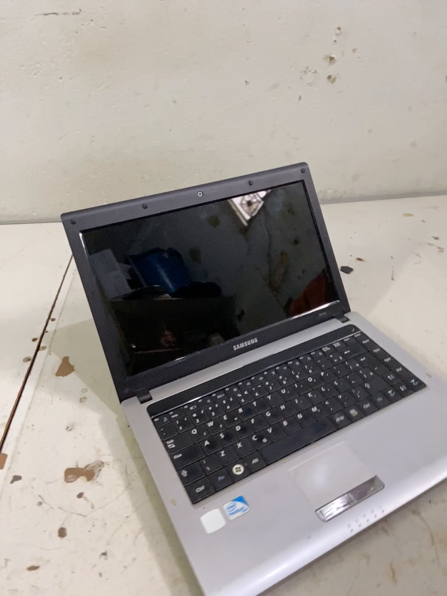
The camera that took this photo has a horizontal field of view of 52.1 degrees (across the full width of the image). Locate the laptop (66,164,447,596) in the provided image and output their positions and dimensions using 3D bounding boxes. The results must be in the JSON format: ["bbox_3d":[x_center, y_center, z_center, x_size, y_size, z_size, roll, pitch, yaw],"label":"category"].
[{"bbox_3d":[0.059,0.025,0.480,0.335,0.172,0.363,-18,38,-22],"label":"laptop"}]
